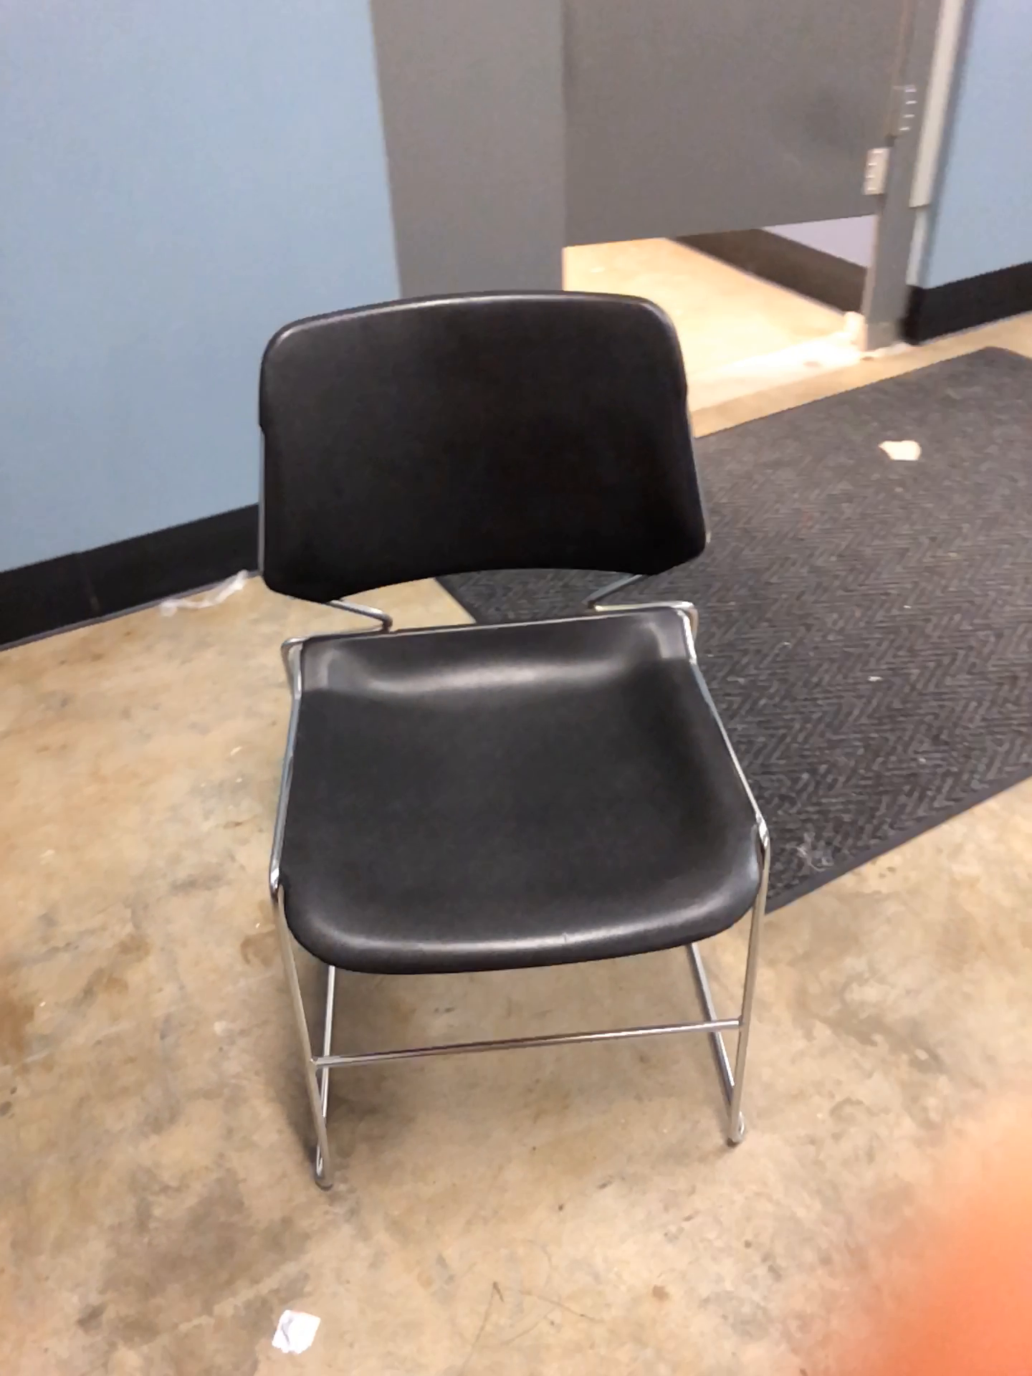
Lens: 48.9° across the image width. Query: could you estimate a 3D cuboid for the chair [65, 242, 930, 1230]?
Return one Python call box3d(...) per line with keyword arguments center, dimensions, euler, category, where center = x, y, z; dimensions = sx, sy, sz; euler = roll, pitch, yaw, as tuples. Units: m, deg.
box3d(center=(-0.018, 0.049, 1.136), dimensions=(0.524, 0.765, 0.552), euler=(-5, 38, -3), category="chair")
